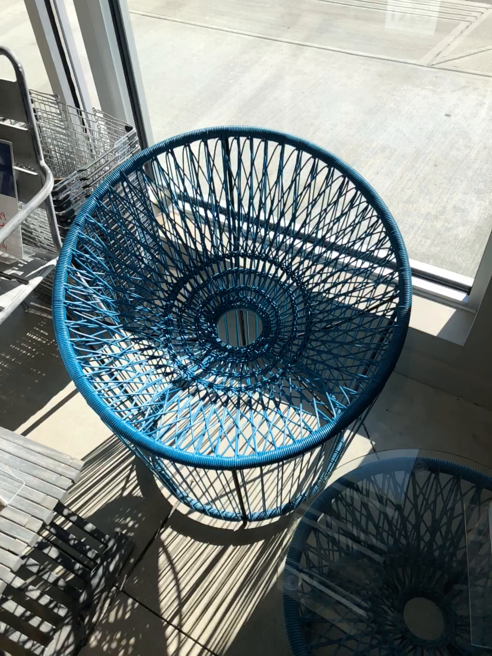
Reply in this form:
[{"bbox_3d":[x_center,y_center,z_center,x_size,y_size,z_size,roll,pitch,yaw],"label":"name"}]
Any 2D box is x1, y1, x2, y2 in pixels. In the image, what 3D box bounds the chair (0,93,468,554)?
[{"bbox_3d":[-0.010,0.050,1.417,0.720,0.993,0.664,-4,48,0],"label":"chair"}]
